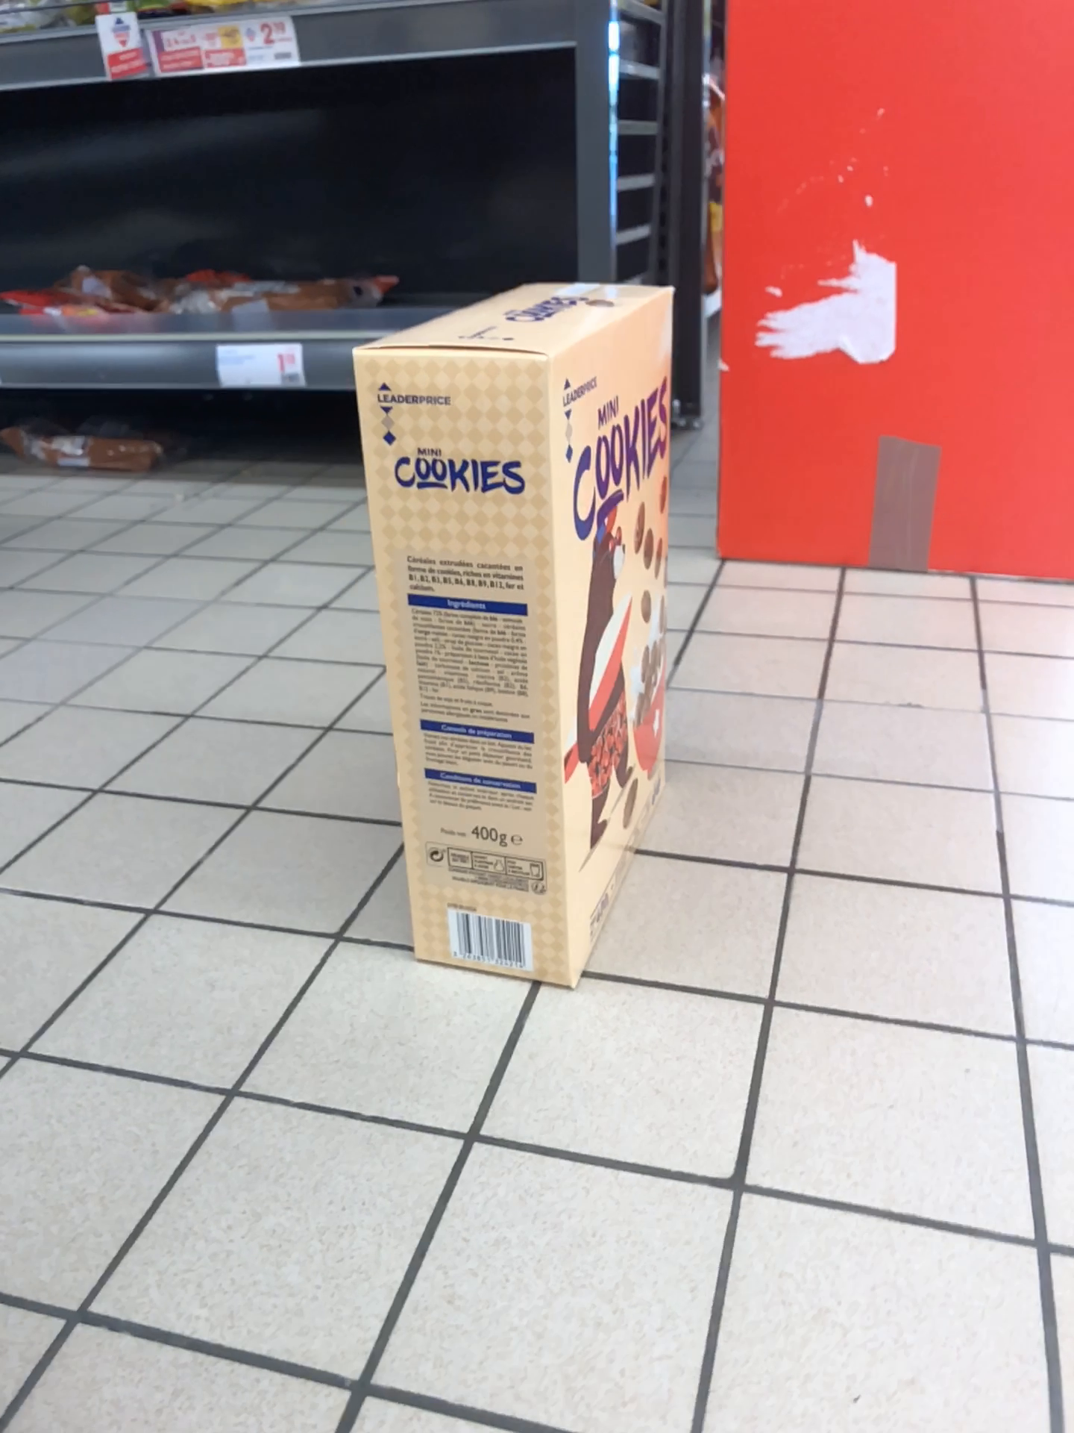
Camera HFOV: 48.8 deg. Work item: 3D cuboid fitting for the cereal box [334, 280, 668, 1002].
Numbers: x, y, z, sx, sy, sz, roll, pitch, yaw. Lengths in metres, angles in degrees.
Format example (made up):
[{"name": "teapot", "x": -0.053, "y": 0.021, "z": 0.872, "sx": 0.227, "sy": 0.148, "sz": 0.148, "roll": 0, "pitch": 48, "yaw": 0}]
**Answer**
[{"name": "cereal box", "x": 0.002, "y": -0.047, "z": 0.558, "sx": 0.080, "sy": 0.279, "sz": 0.201, "roll": 5, "pitch": 26, "yaw": 17}]
